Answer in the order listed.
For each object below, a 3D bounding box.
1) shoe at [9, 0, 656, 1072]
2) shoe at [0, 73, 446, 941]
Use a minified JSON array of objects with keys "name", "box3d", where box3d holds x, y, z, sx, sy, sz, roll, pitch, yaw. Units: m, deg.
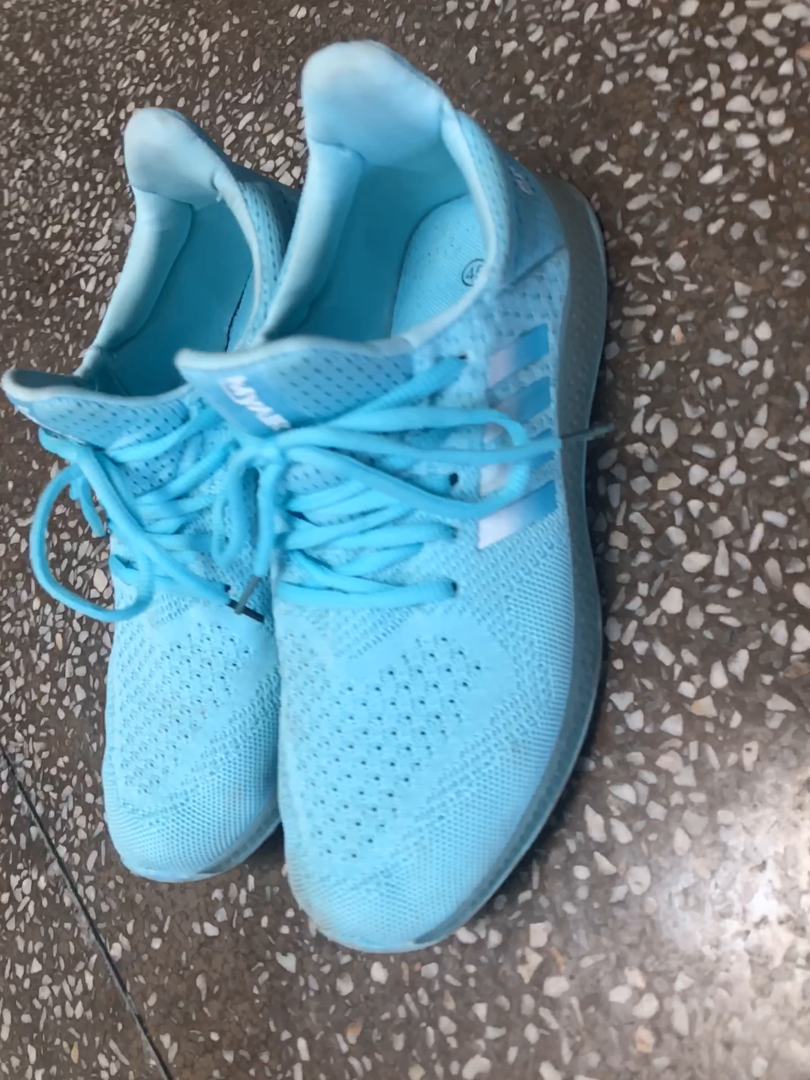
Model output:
[{"name":"shoe","box3d":[-0.011,-0.006,0.300,0.121,0.125,0.271,3,79,35]},{"name":"shoe","box3d":[-0.090,-0.009,0.356,0.121,0.125,0.271,5,80,35]}]
